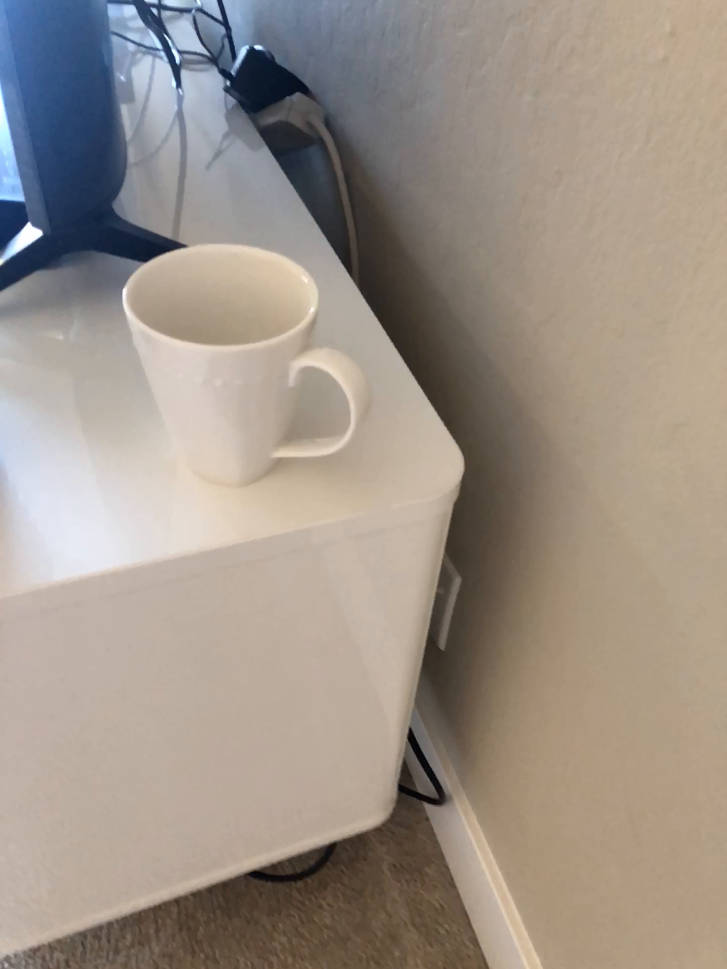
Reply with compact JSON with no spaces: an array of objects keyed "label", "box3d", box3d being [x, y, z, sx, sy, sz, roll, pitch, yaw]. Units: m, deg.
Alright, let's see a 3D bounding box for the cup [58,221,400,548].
[{"label":"cup","box3d":[-0.065,-0.055,0.403,0.130,0.090,0.090,27,48,21]}]
